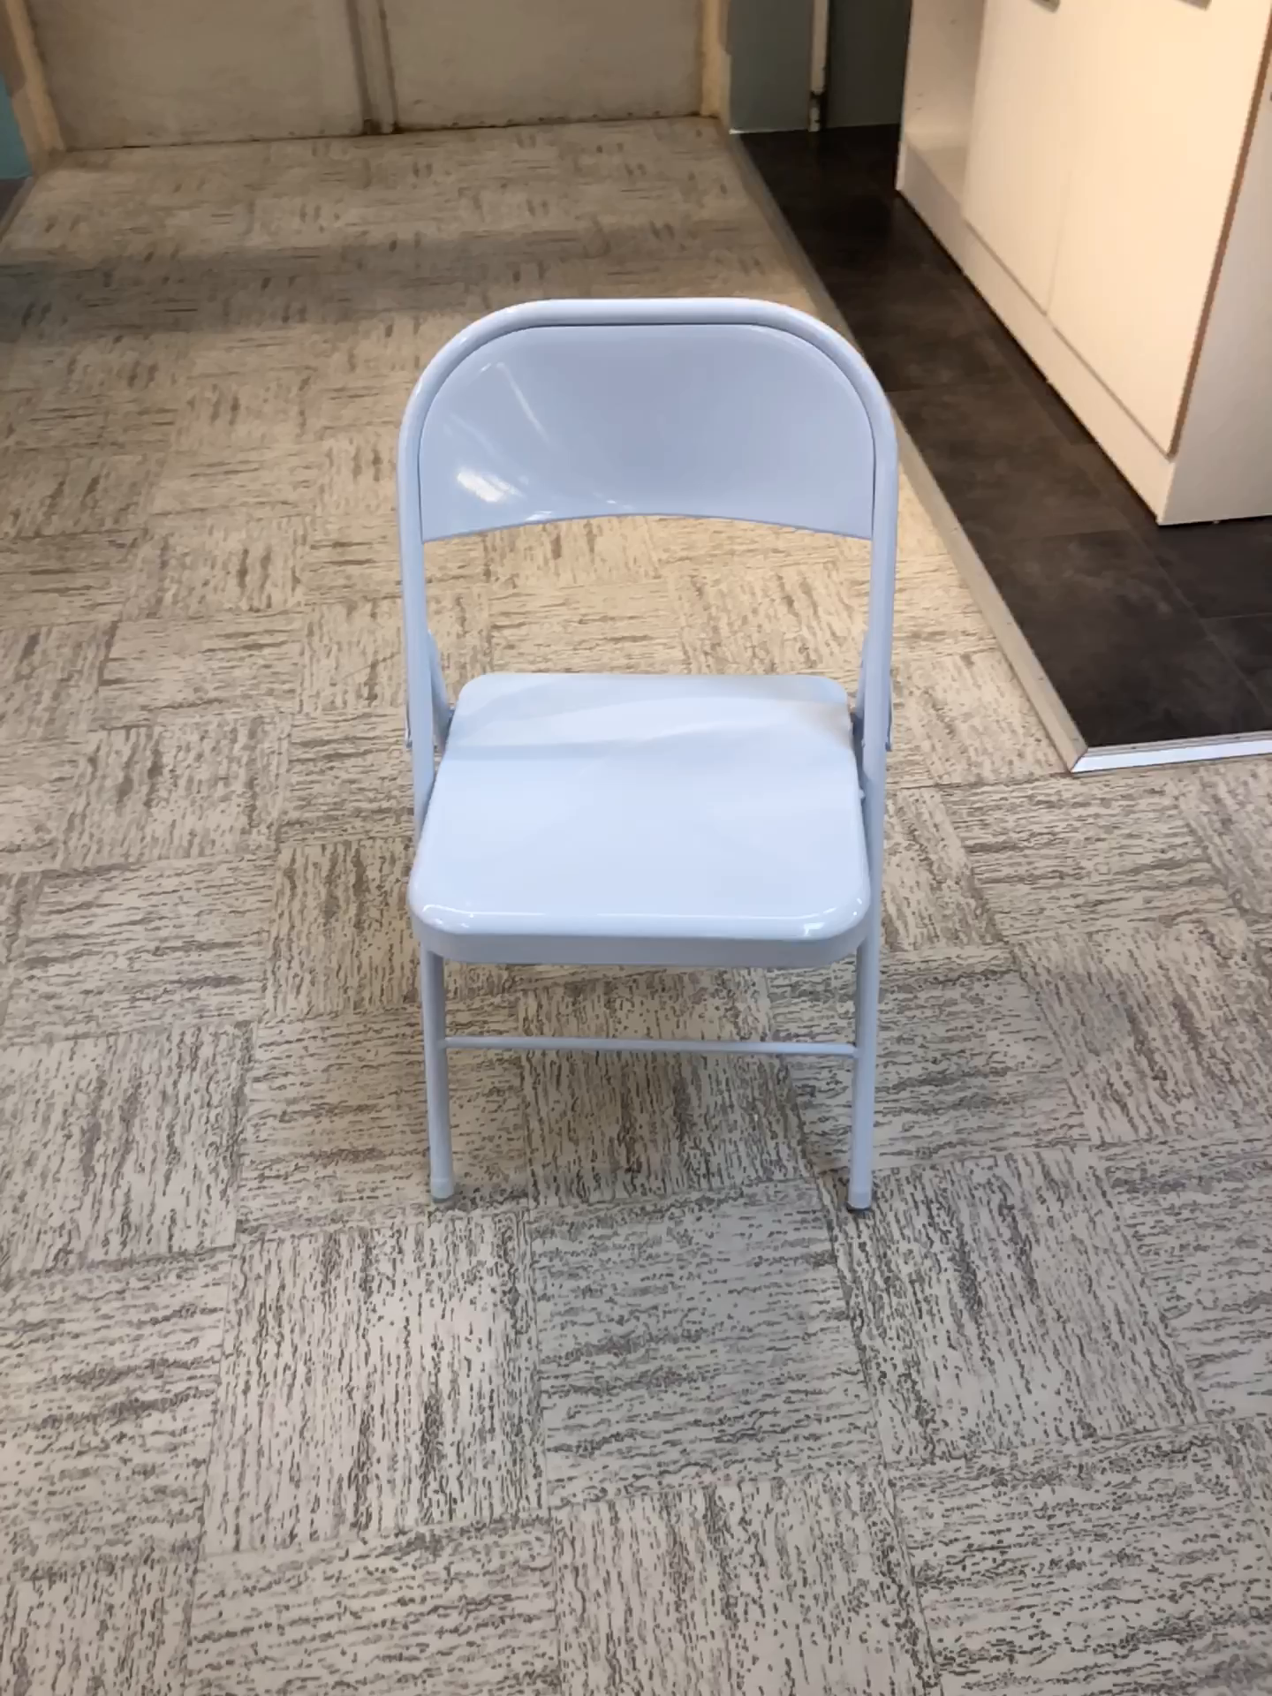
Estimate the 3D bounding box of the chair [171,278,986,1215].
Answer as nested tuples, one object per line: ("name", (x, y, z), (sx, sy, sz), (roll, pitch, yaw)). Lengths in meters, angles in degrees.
("chair", (-0.019, -0.076, 1.281), (0.510, 0.706, 0.483), (1, 42, 3))
